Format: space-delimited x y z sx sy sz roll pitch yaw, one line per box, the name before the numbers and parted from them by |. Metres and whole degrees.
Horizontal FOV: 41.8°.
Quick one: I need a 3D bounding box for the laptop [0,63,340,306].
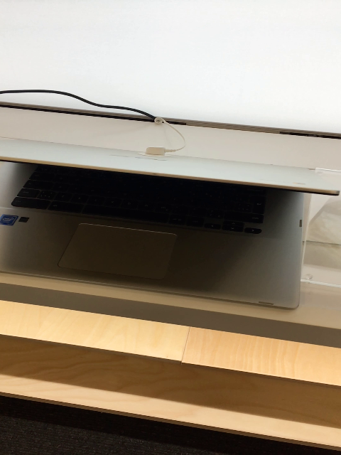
laptop | -0.035 -0.059 0.503 0.407 0.133 0.219 7 50 6
